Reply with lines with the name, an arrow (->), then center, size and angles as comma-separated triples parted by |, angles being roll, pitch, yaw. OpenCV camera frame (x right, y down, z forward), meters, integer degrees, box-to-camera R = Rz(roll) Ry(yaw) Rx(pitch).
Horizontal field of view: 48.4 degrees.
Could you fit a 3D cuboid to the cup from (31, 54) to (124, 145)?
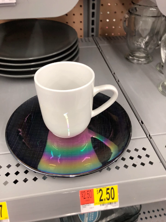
cup -> -0.011, -0.019, 0.282 | 0.113, 0.098, 0.078 | -7, 41, -8
